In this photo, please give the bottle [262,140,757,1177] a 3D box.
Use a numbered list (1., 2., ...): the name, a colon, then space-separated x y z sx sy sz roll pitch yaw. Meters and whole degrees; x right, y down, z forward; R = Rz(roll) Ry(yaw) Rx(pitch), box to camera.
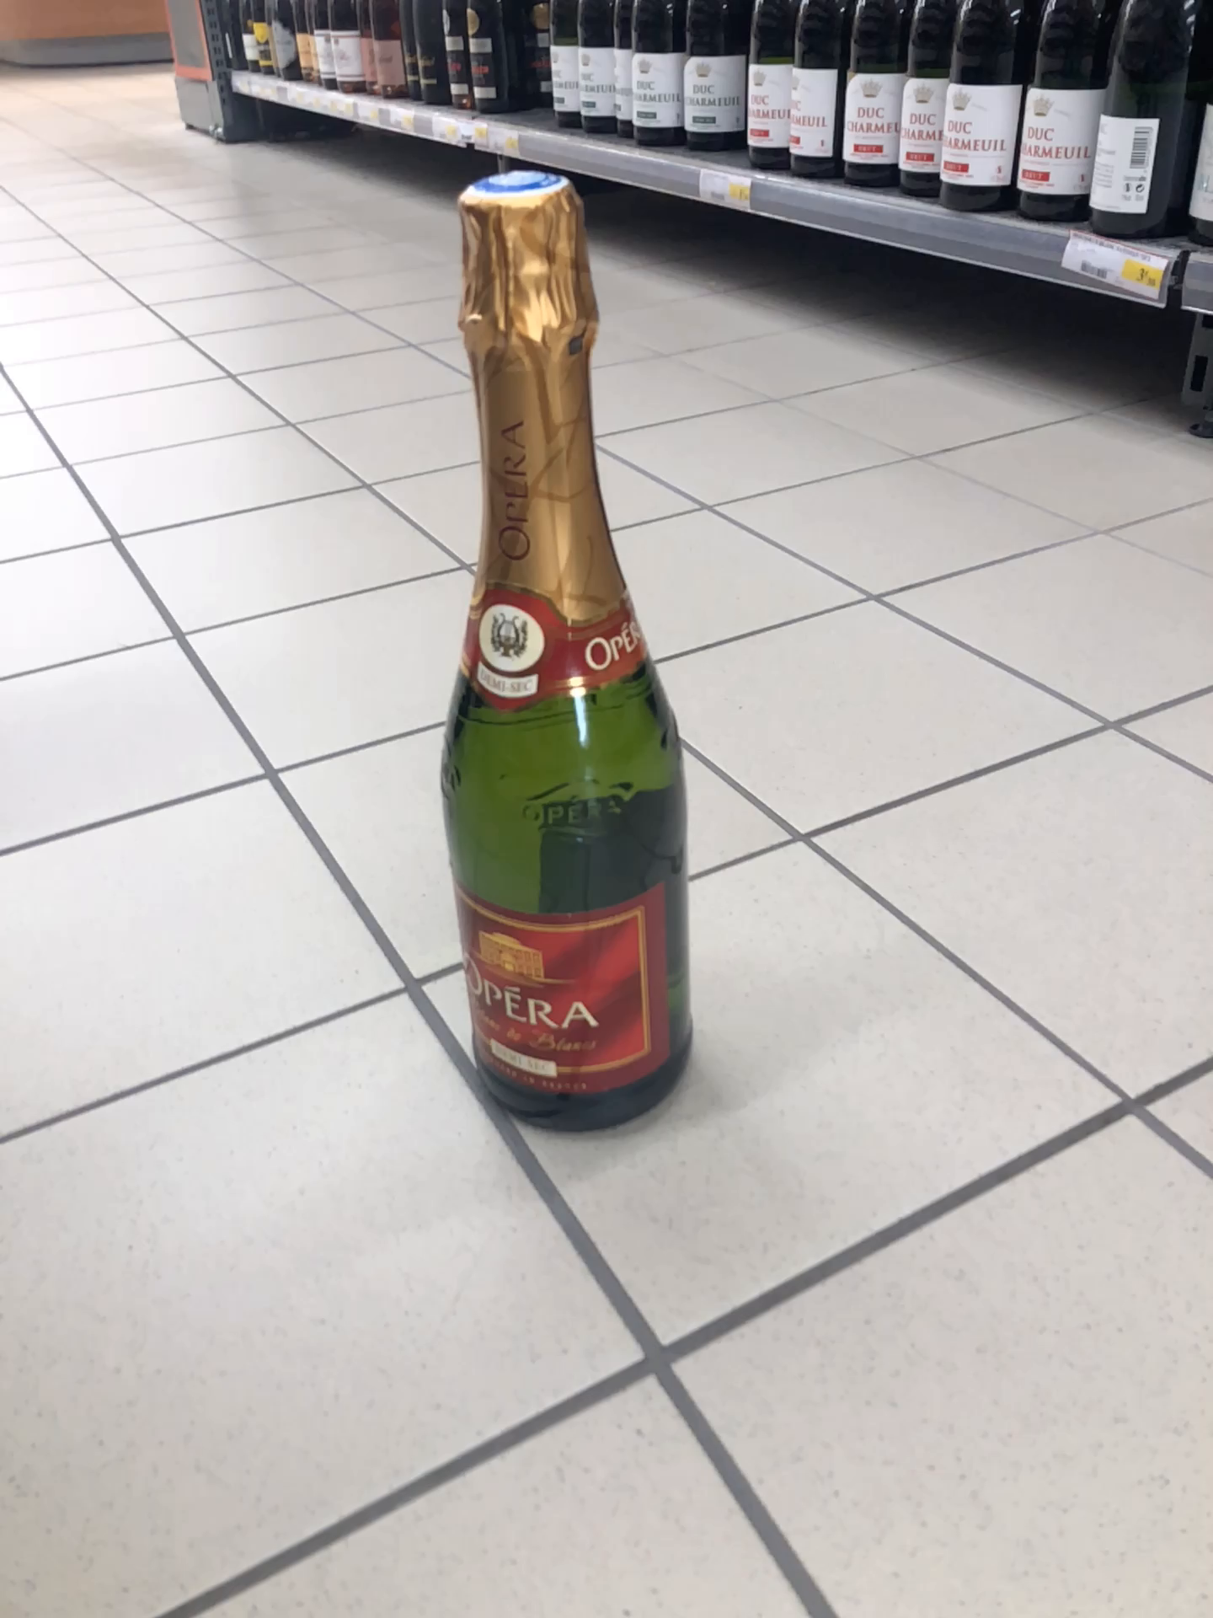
1. bottle: -0.017 -0.038 0.417 0.090 0.298 0.091 -2 31 1
